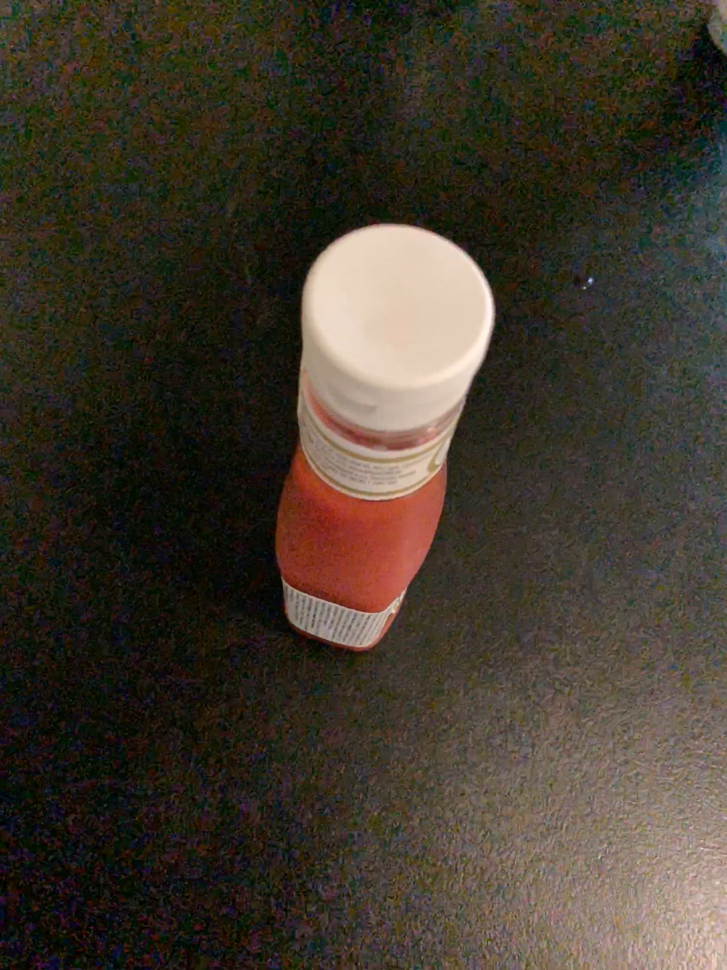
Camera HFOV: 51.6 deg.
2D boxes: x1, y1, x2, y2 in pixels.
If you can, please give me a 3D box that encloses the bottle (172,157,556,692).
[{"bbox_3d":[-0.004,0.009,0.220,0.050,0.190,0.070,16,69,2],"label":"bottle"}]
